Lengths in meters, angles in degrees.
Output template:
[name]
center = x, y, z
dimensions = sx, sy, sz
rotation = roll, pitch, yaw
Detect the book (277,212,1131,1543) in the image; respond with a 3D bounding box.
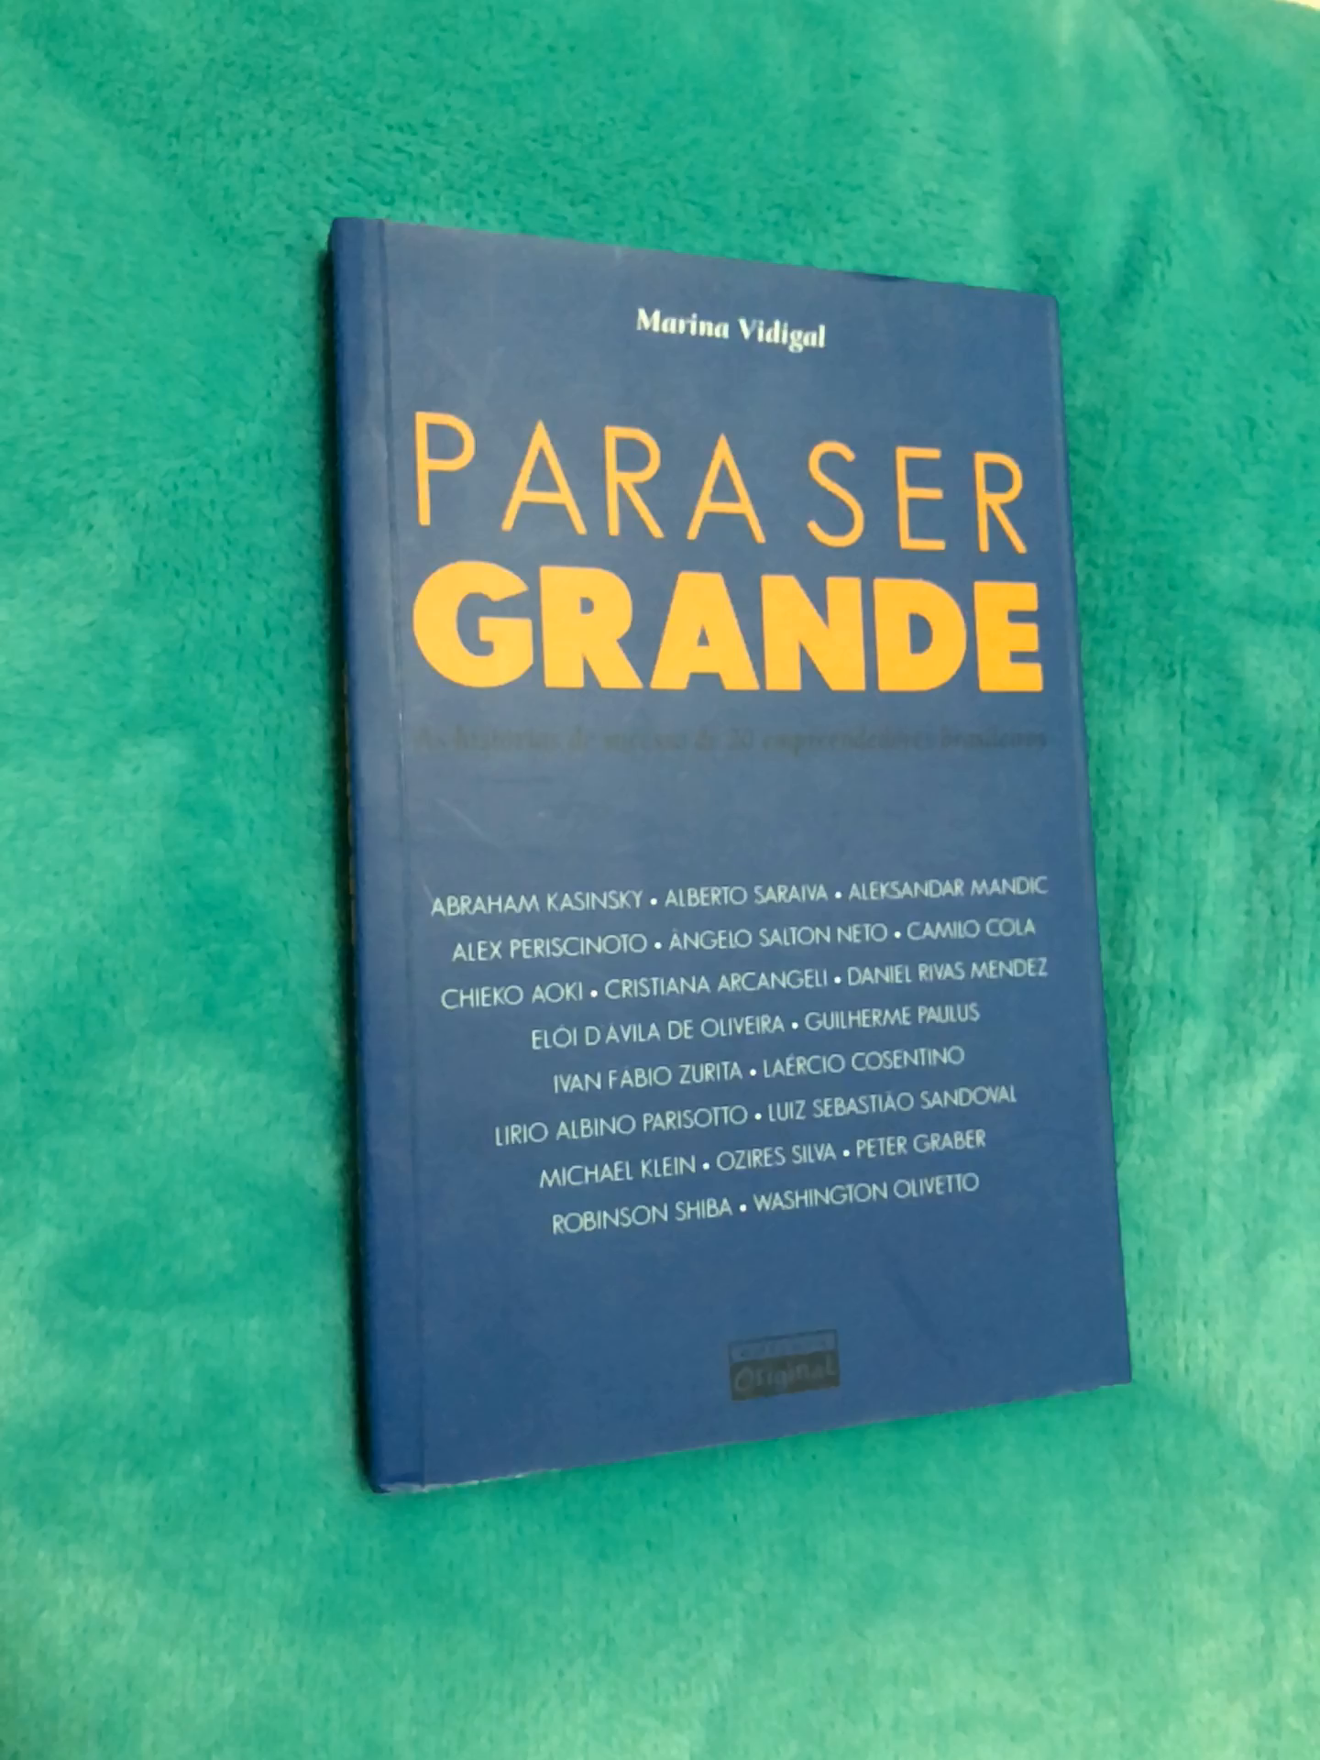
[book]
center = 0.009, -0.003, 0.254
dimensions = 0.140, 0.030, 0.200
rotation = -1, 89, -16
